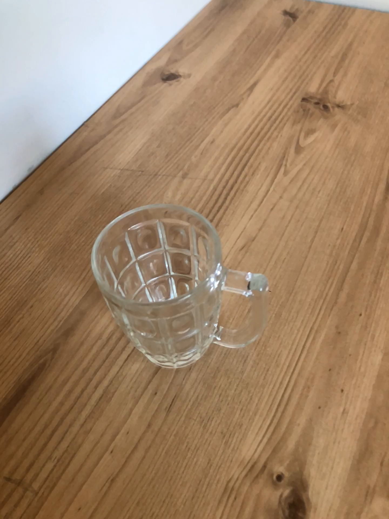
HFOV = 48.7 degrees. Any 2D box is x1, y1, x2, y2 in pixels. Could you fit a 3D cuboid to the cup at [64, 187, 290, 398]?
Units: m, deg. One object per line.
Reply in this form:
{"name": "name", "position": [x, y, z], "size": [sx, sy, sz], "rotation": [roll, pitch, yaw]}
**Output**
{"name": "cup", "position": [-0.004, 0.024, 0.305], "size": [0.119, 0.102, 0.089], "rotation": [10, 56, 13]}
